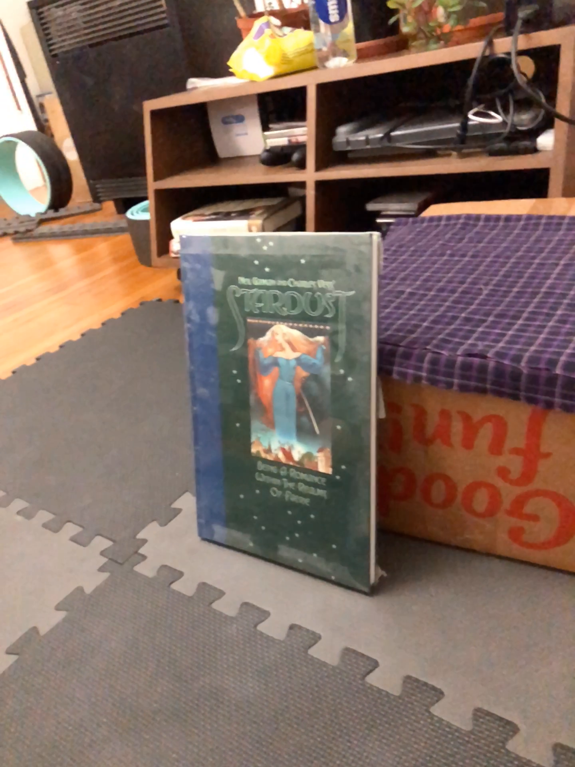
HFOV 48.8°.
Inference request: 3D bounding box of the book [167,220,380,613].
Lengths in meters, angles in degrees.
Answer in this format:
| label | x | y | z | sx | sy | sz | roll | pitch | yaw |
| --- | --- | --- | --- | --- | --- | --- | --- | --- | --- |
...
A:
| label | x | y | z | sx | sy | sz | roll | pitch | yaw |
| --- | --- | --- | --- | --- | --- | --- | --- | --- | --- |
| book | -0.015 | 0.025 | 0.578 | 0.210 | 0.329 | 0.020 | 7 | 16 | 34 |
